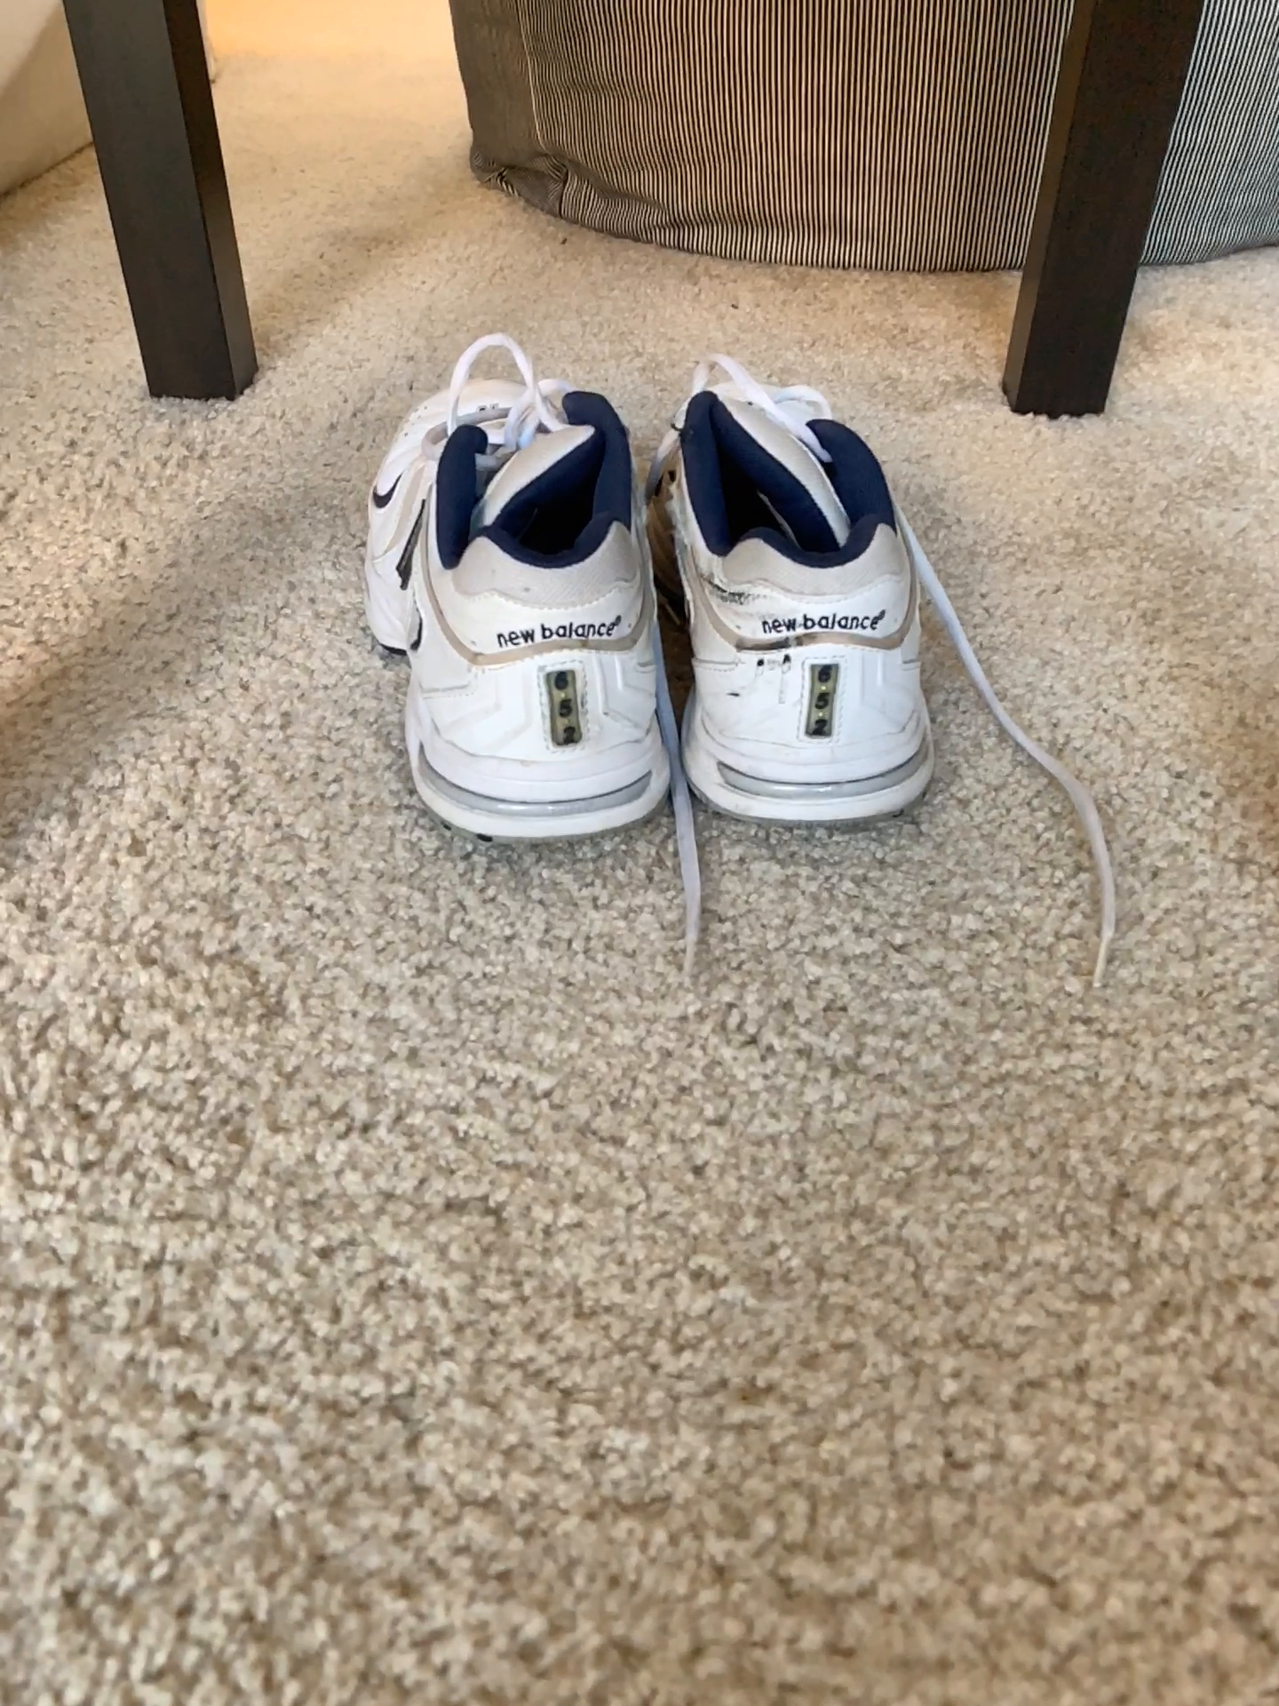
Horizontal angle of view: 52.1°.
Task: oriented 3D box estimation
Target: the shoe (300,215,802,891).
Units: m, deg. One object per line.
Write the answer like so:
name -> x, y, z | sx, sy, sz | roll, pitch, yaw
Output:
shoe -> -0.049, -0.129, 0.462 | 0.110, 0.099, 0.302 | -8, 41, -11

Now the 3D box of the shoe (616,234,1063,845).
shoe -> 0.050, -0.138, 0.493 | 0.110, 0.099, 0.302 | -1, 40, -2
